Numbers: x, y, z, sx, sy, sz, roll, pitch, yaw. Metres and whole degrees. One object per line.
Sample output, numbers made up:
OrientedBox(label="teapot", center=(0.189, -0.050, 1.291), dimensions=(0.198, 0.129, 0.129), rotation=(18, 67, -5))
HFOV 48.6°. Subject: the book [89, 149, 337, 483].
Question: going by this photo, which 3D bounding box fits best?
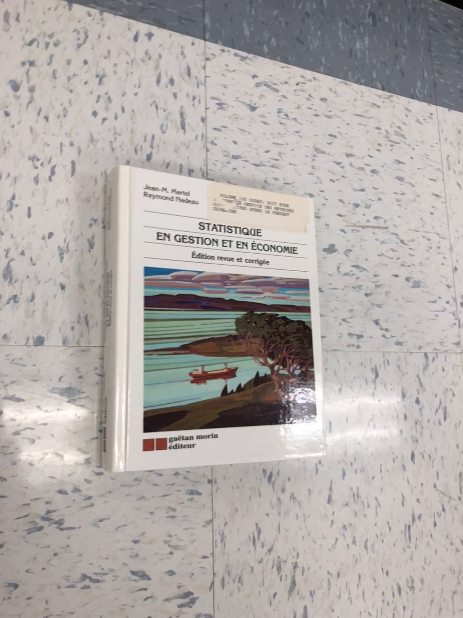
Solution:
OrientedBox(label="book", center=(-0.015, 0.007, 0.430), dimensions=(0.190, 0.060, 0.240), rotation=(3, 79, -24))
